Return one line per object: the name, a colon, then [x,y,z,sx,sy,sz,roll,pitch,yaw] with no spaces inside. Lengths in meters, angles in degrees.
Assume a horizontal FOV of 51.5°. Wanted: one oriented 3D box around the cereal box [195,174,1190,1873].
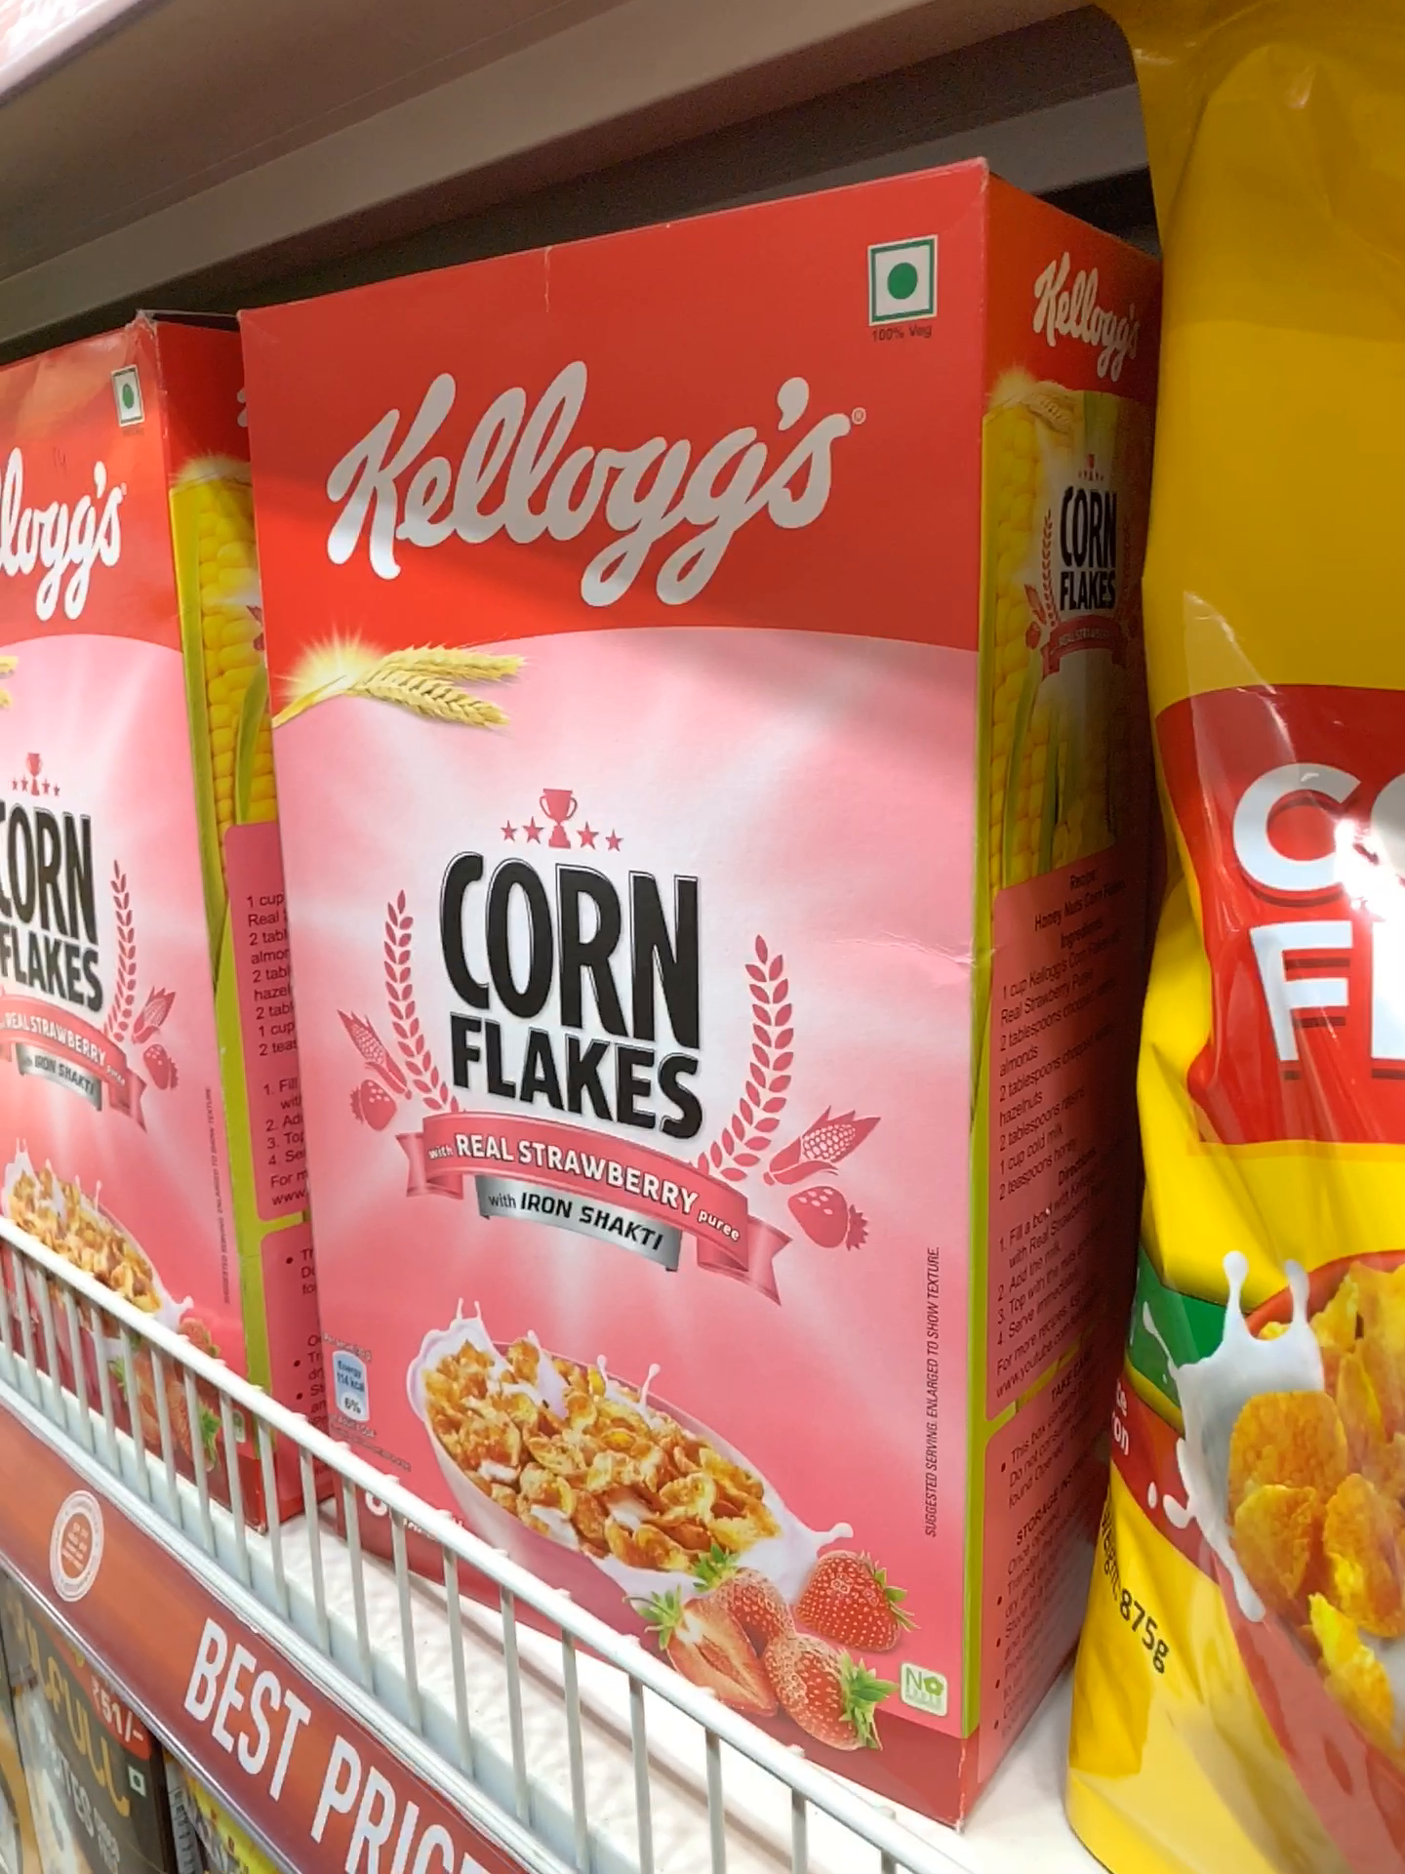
cereal box: [-0.002,0.013,0.305,0.170,0.269,0.090,6,13,34]
